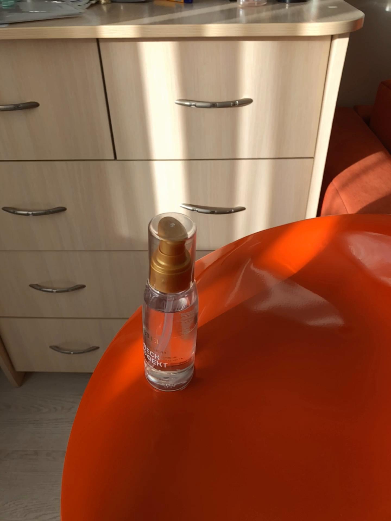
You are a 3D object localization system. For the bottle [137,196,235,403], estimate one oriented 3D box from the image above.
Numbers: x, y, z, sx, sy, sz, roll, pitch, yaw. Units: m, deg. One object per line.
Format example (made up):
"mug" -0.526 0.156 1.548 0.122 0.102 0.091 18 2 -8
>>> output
"bottle" -0.012 0.033 0.305 0.050 0.149 0.050 3 39 -2
